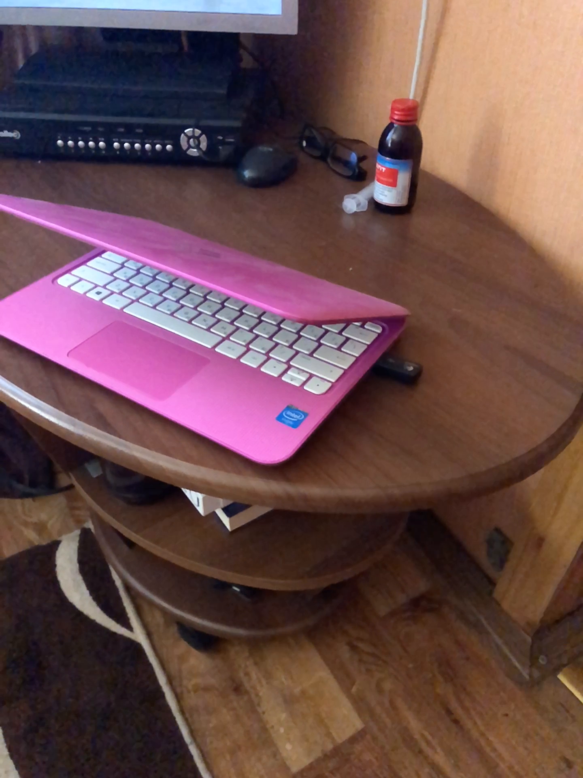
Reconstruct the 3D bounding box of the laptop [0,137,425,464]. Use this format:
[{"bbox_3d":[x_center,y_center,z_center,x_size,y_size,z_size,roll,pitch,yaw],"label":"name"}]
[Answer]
[{"bbox_3d":[-0.070,-0.086,0.459,0.264,0.081,0.187,23,45,24],"label":"laptop"}]
